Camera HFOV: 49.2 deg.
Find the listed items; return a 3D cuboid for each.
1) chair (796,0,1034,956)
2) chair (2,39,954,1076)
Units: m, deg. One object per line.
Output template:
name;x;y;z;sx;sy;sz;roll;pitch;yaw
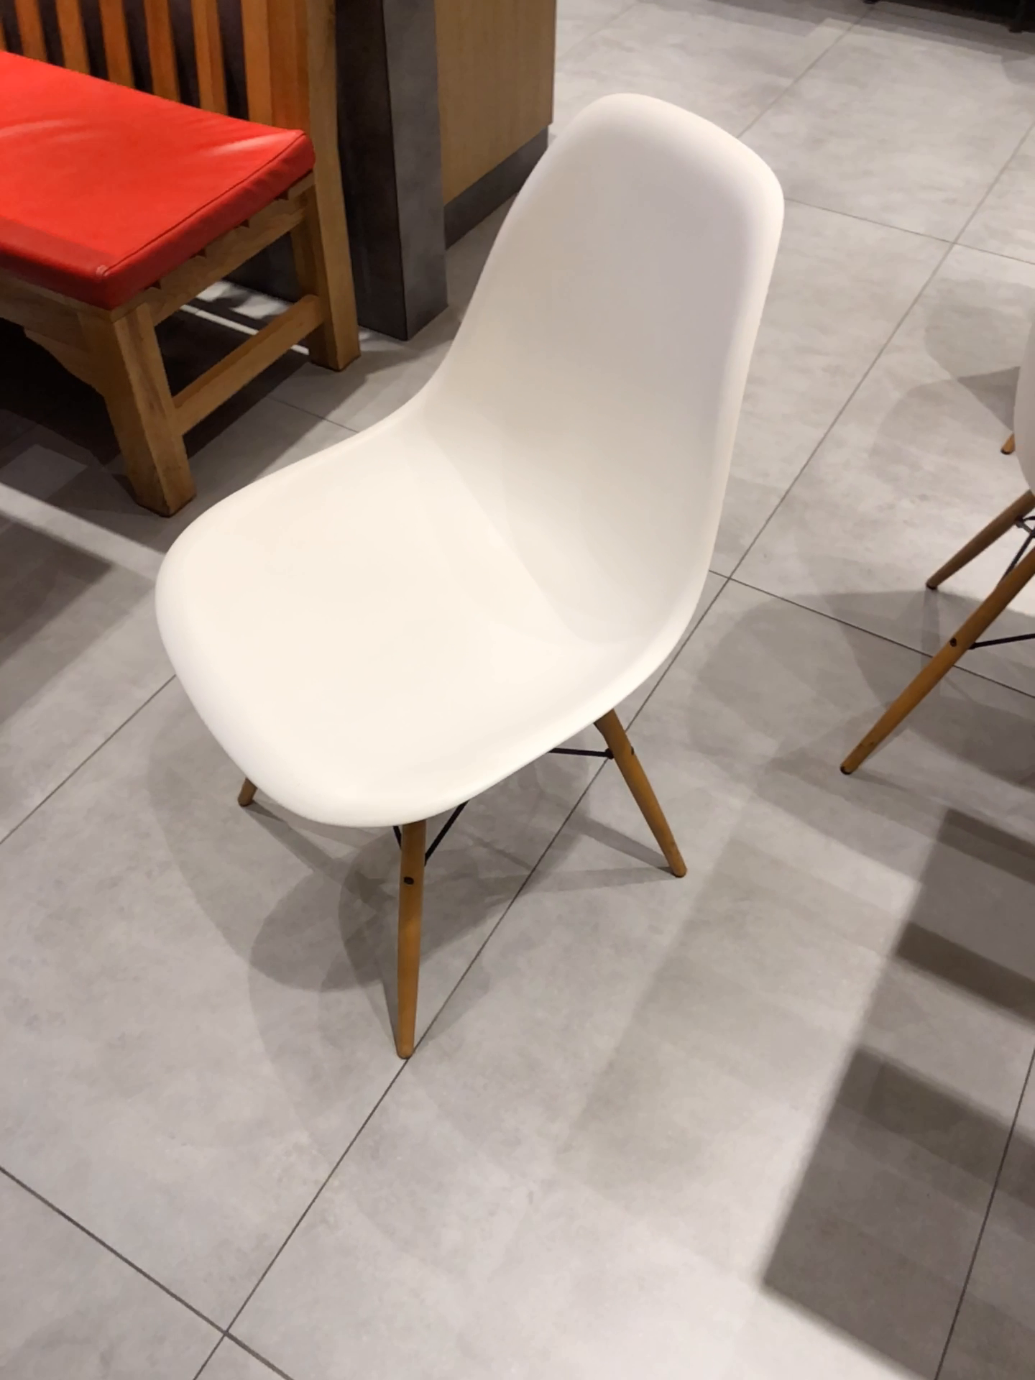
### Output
chair;0.733;-0.225;1.268;0.513;0.769;0.563;24;53;19
chair;-0.044;-0.106;1.149;0.553;0.779;0.473;-27;55;-22
